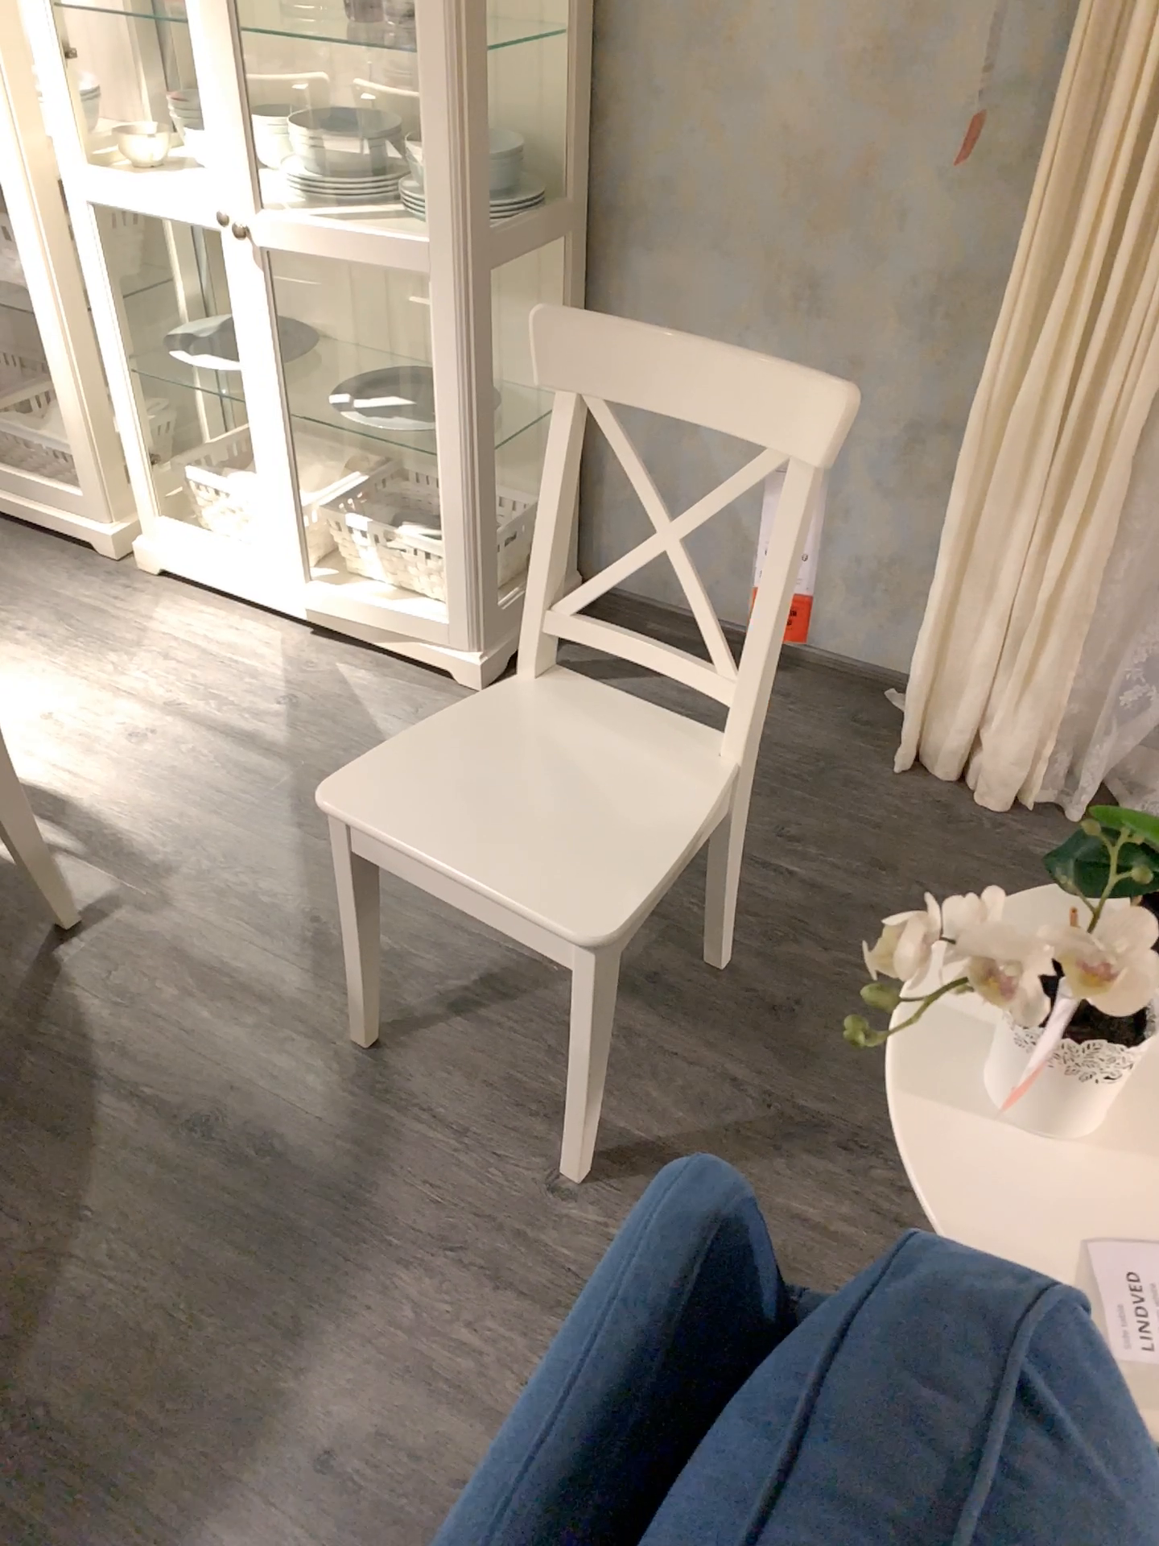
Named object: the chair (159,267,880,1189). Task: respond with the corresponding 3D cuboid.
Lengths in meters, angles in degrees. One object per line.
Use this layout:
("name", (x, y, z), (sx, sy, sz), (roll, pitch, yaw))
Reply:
("chair", (-0.041, -0.059, 1.366), (0.451, 0.807, 0.542), (23, 44, 24))
